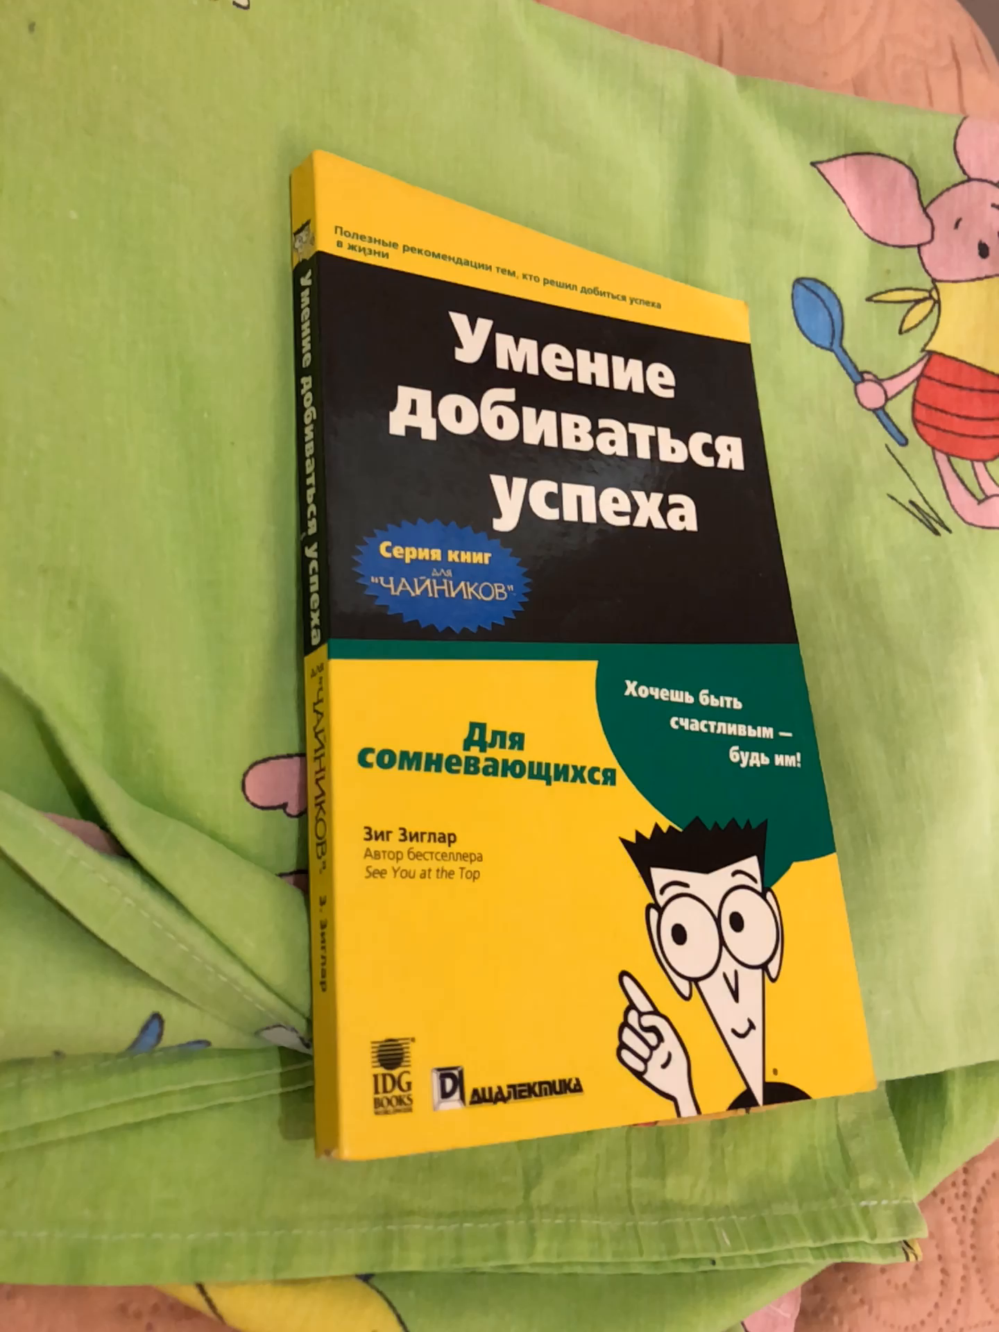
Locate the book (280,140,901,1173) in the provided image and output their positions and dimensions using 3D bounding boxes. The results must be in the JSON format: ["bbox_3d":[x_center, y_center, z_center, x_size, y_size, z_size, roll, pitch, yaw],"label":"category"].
[{"bbox_3d":[0.018,-0.007,0.230,0.125,0.015,0.191,7,68,-31],"label":"book"}]
